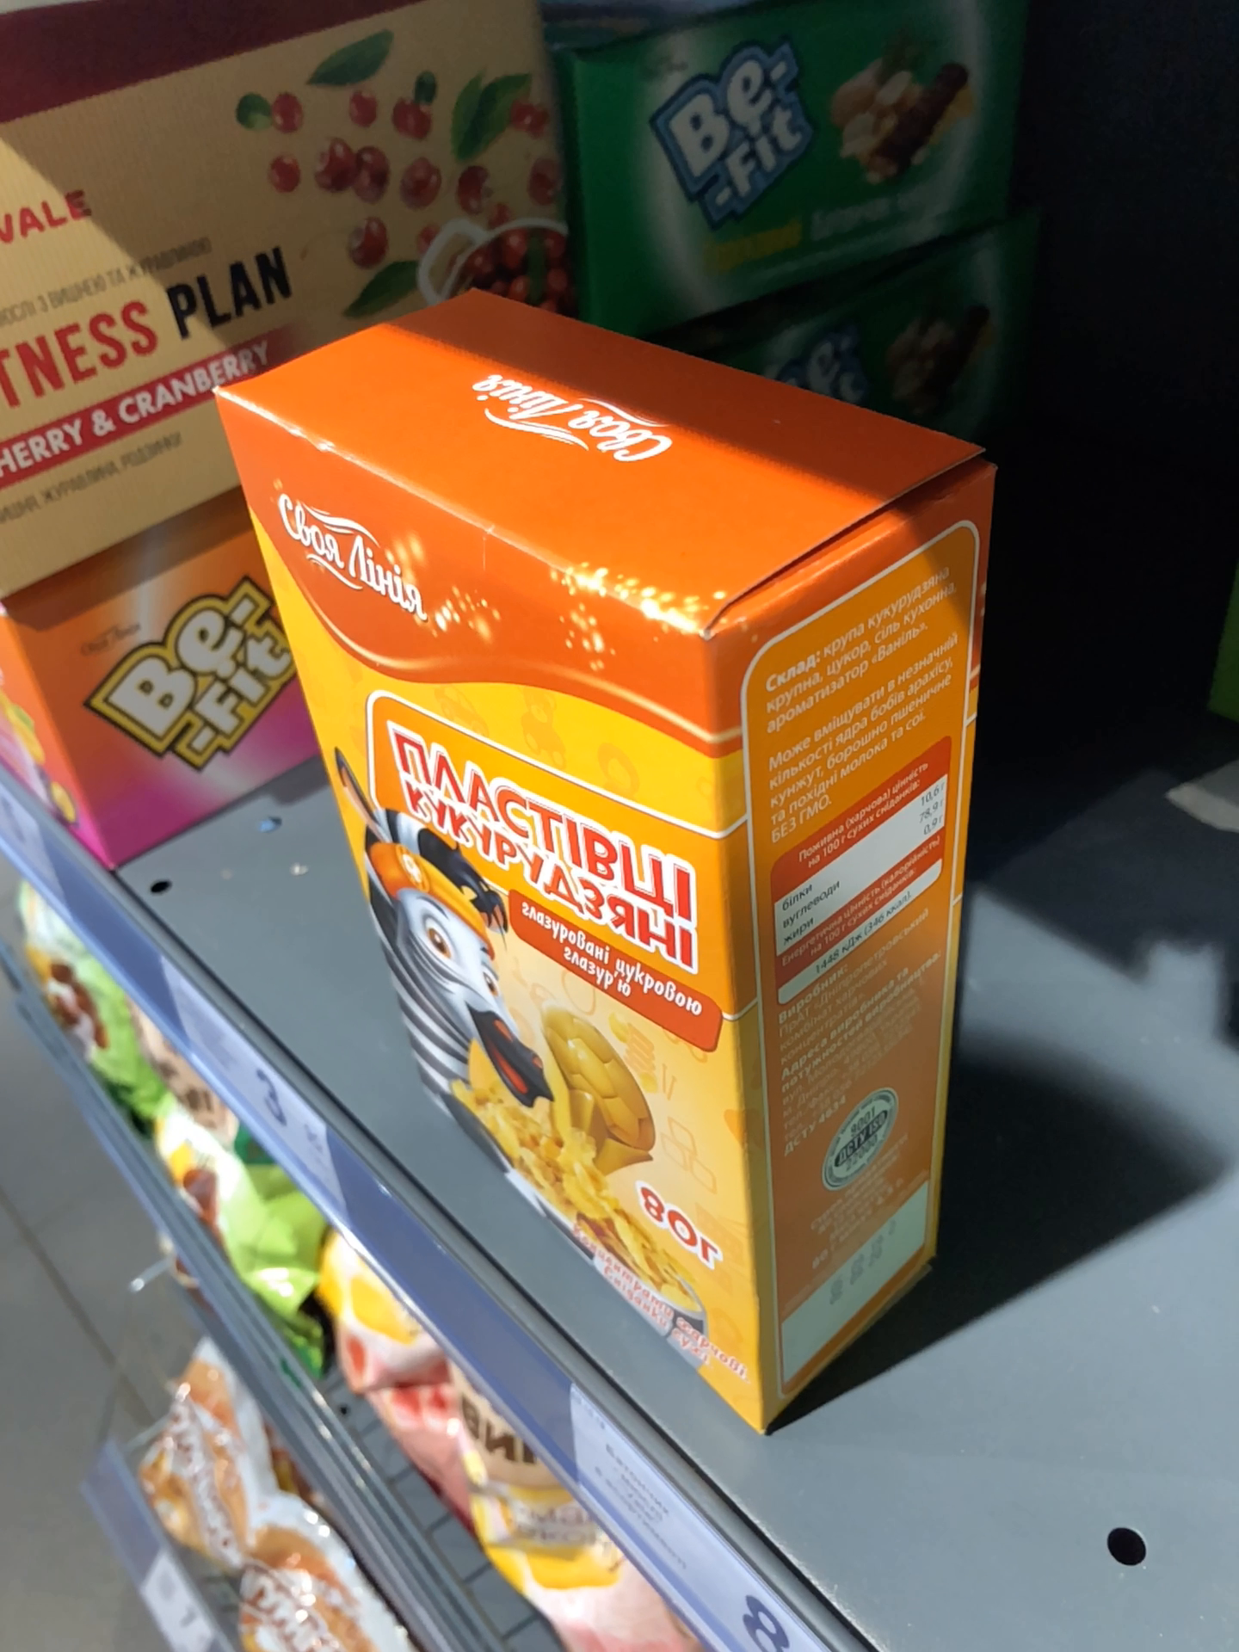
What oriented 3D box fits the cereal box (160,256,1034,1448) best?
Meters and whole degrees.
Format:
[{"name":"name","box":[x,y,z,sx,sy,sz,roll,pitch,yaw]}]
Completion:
[{"name":"cereal box","box":[-0.003,0.005,0.231,0.050,0.159,0.121,-32,45,-26]}]
